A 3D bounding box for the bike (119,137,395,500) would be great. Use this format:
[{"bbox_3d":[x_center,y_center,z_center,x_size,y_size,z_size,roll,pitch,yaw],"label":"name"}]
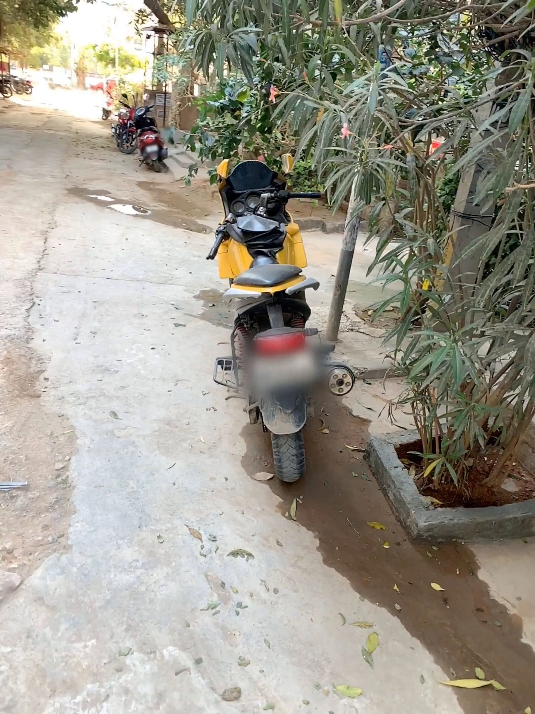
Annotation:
[{"bbox_3d":[-0.248,-0.345,2.636,0.852,0.954,1.755,2,29,-13],"label":"bike"}]
